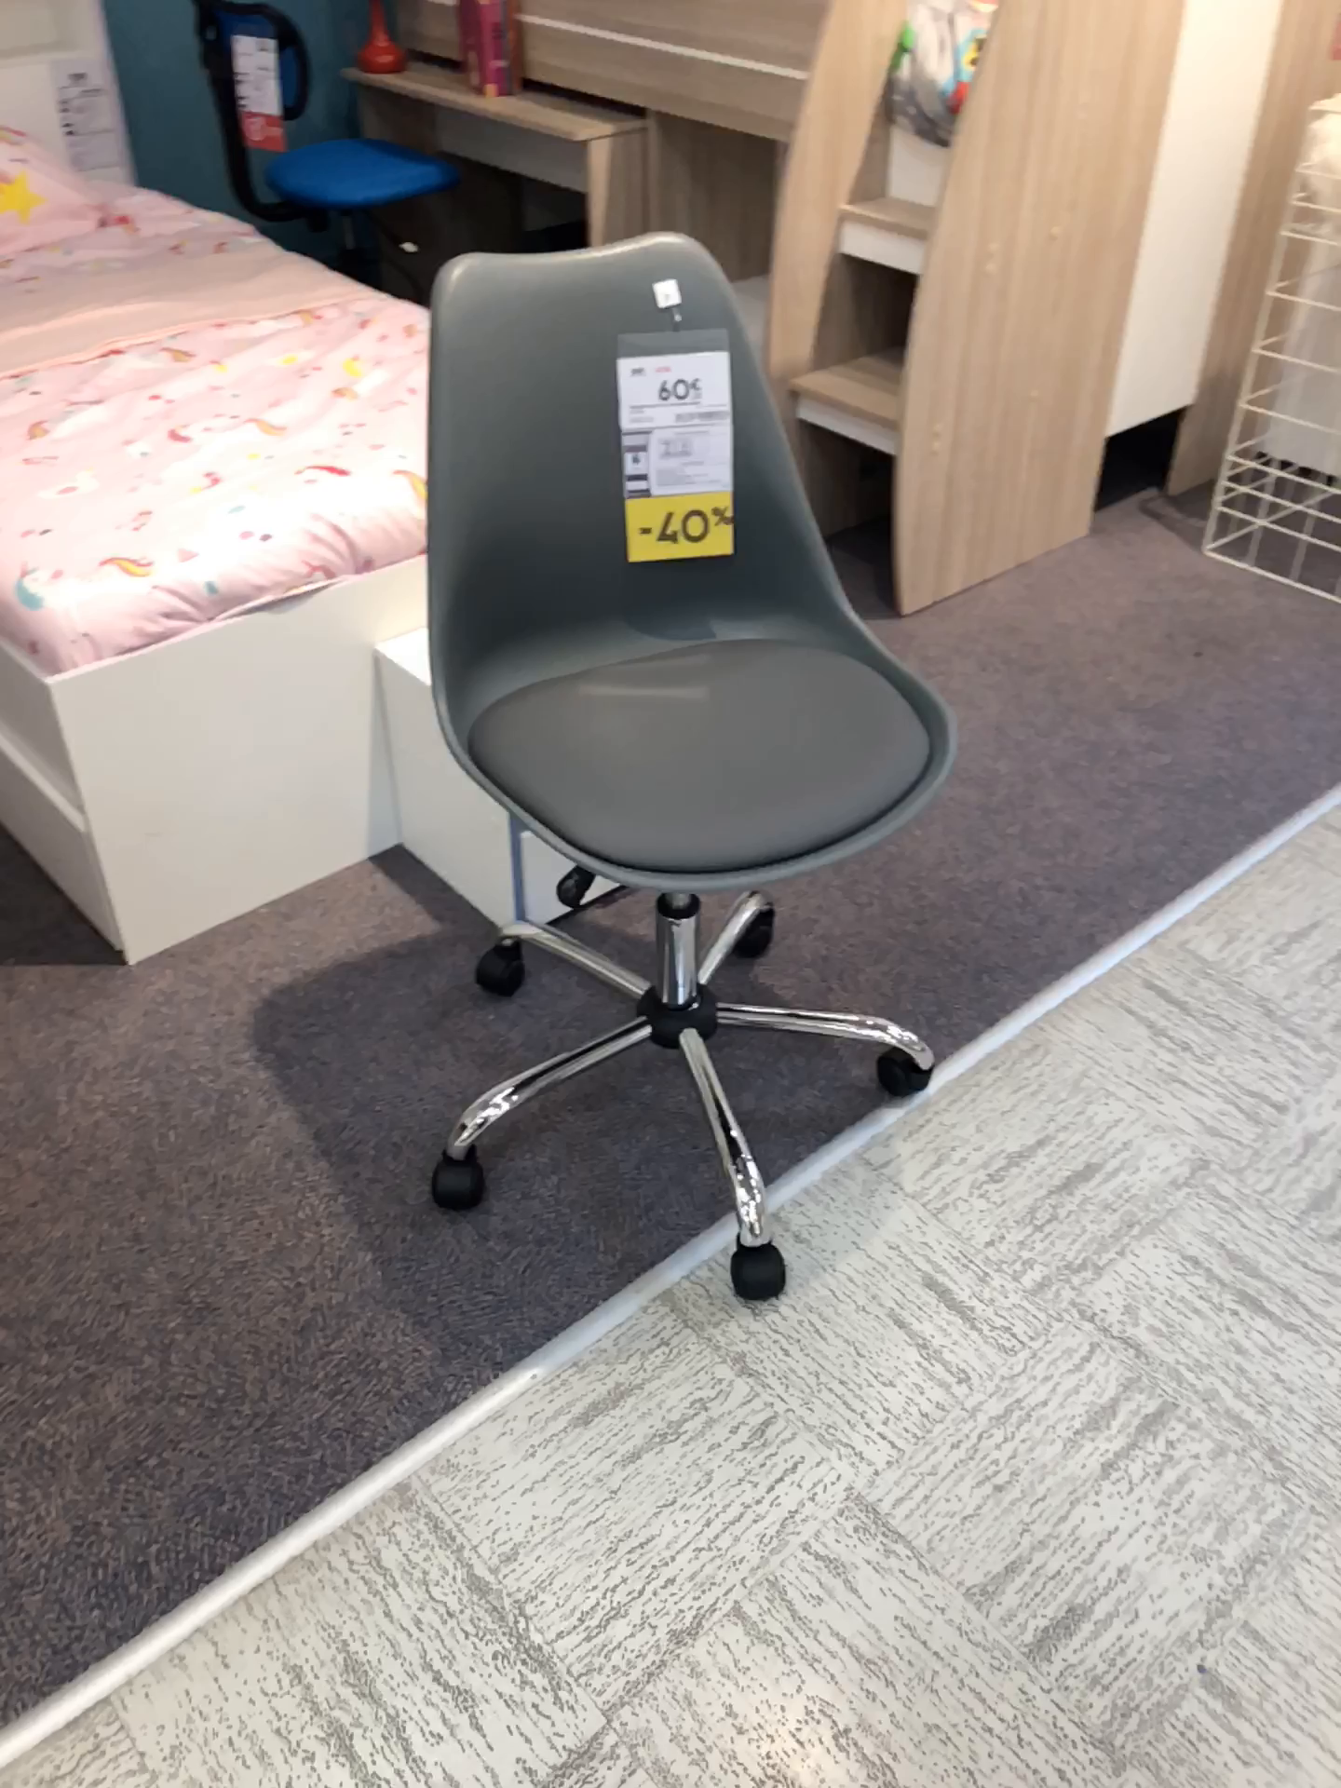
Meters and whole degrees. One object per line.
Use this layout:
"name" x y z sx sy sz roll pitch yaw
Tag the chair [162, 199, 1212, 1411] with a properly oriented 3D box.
"chair" -0.026 -0.118 1.416 0.602 0.835 0.632 -18 42 -22
